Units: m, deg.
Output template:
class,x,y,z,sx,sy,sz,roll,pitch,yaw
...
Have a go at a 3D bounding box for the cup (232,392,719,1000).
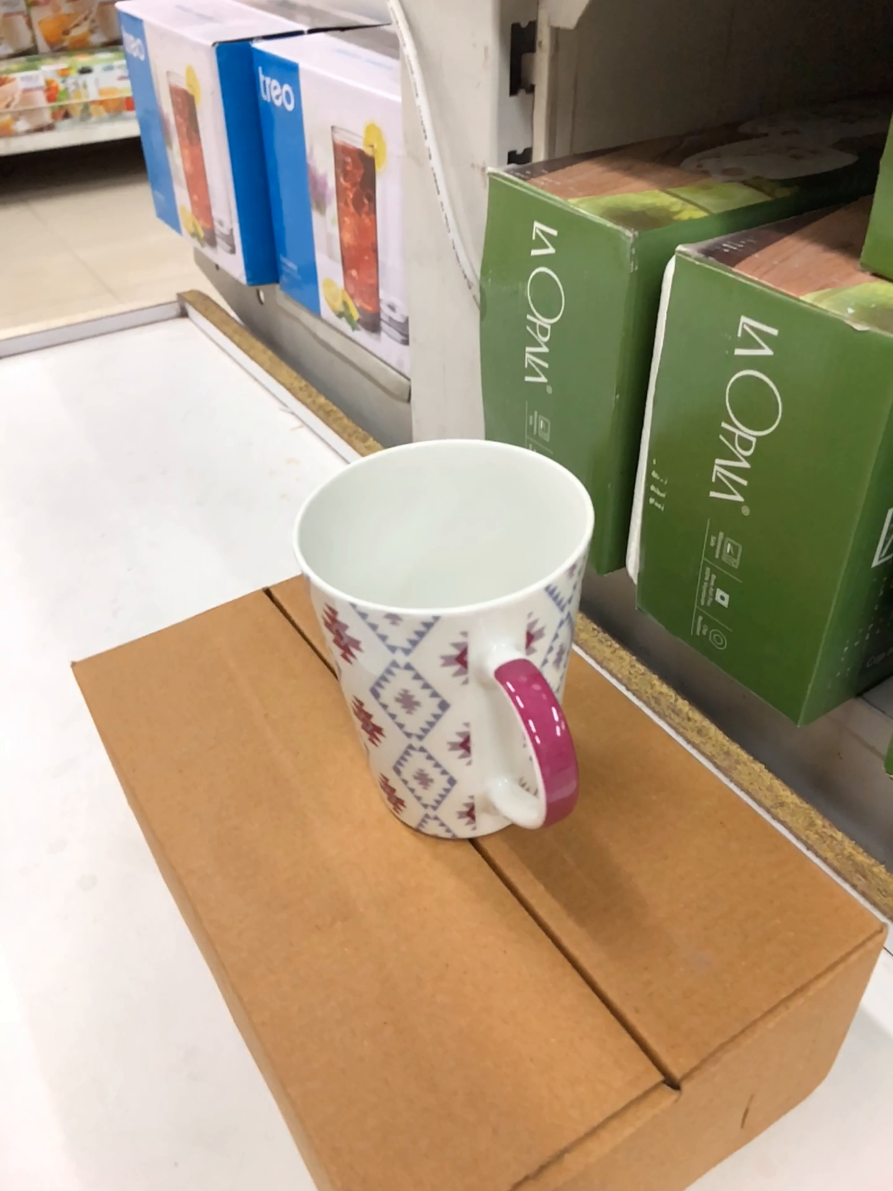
class,x,y,z,sx,sy,sz,roll,pitch,yaw
cup,0.000,0.021,0.280,0.080,0.099,0.121,-15,41,-18
